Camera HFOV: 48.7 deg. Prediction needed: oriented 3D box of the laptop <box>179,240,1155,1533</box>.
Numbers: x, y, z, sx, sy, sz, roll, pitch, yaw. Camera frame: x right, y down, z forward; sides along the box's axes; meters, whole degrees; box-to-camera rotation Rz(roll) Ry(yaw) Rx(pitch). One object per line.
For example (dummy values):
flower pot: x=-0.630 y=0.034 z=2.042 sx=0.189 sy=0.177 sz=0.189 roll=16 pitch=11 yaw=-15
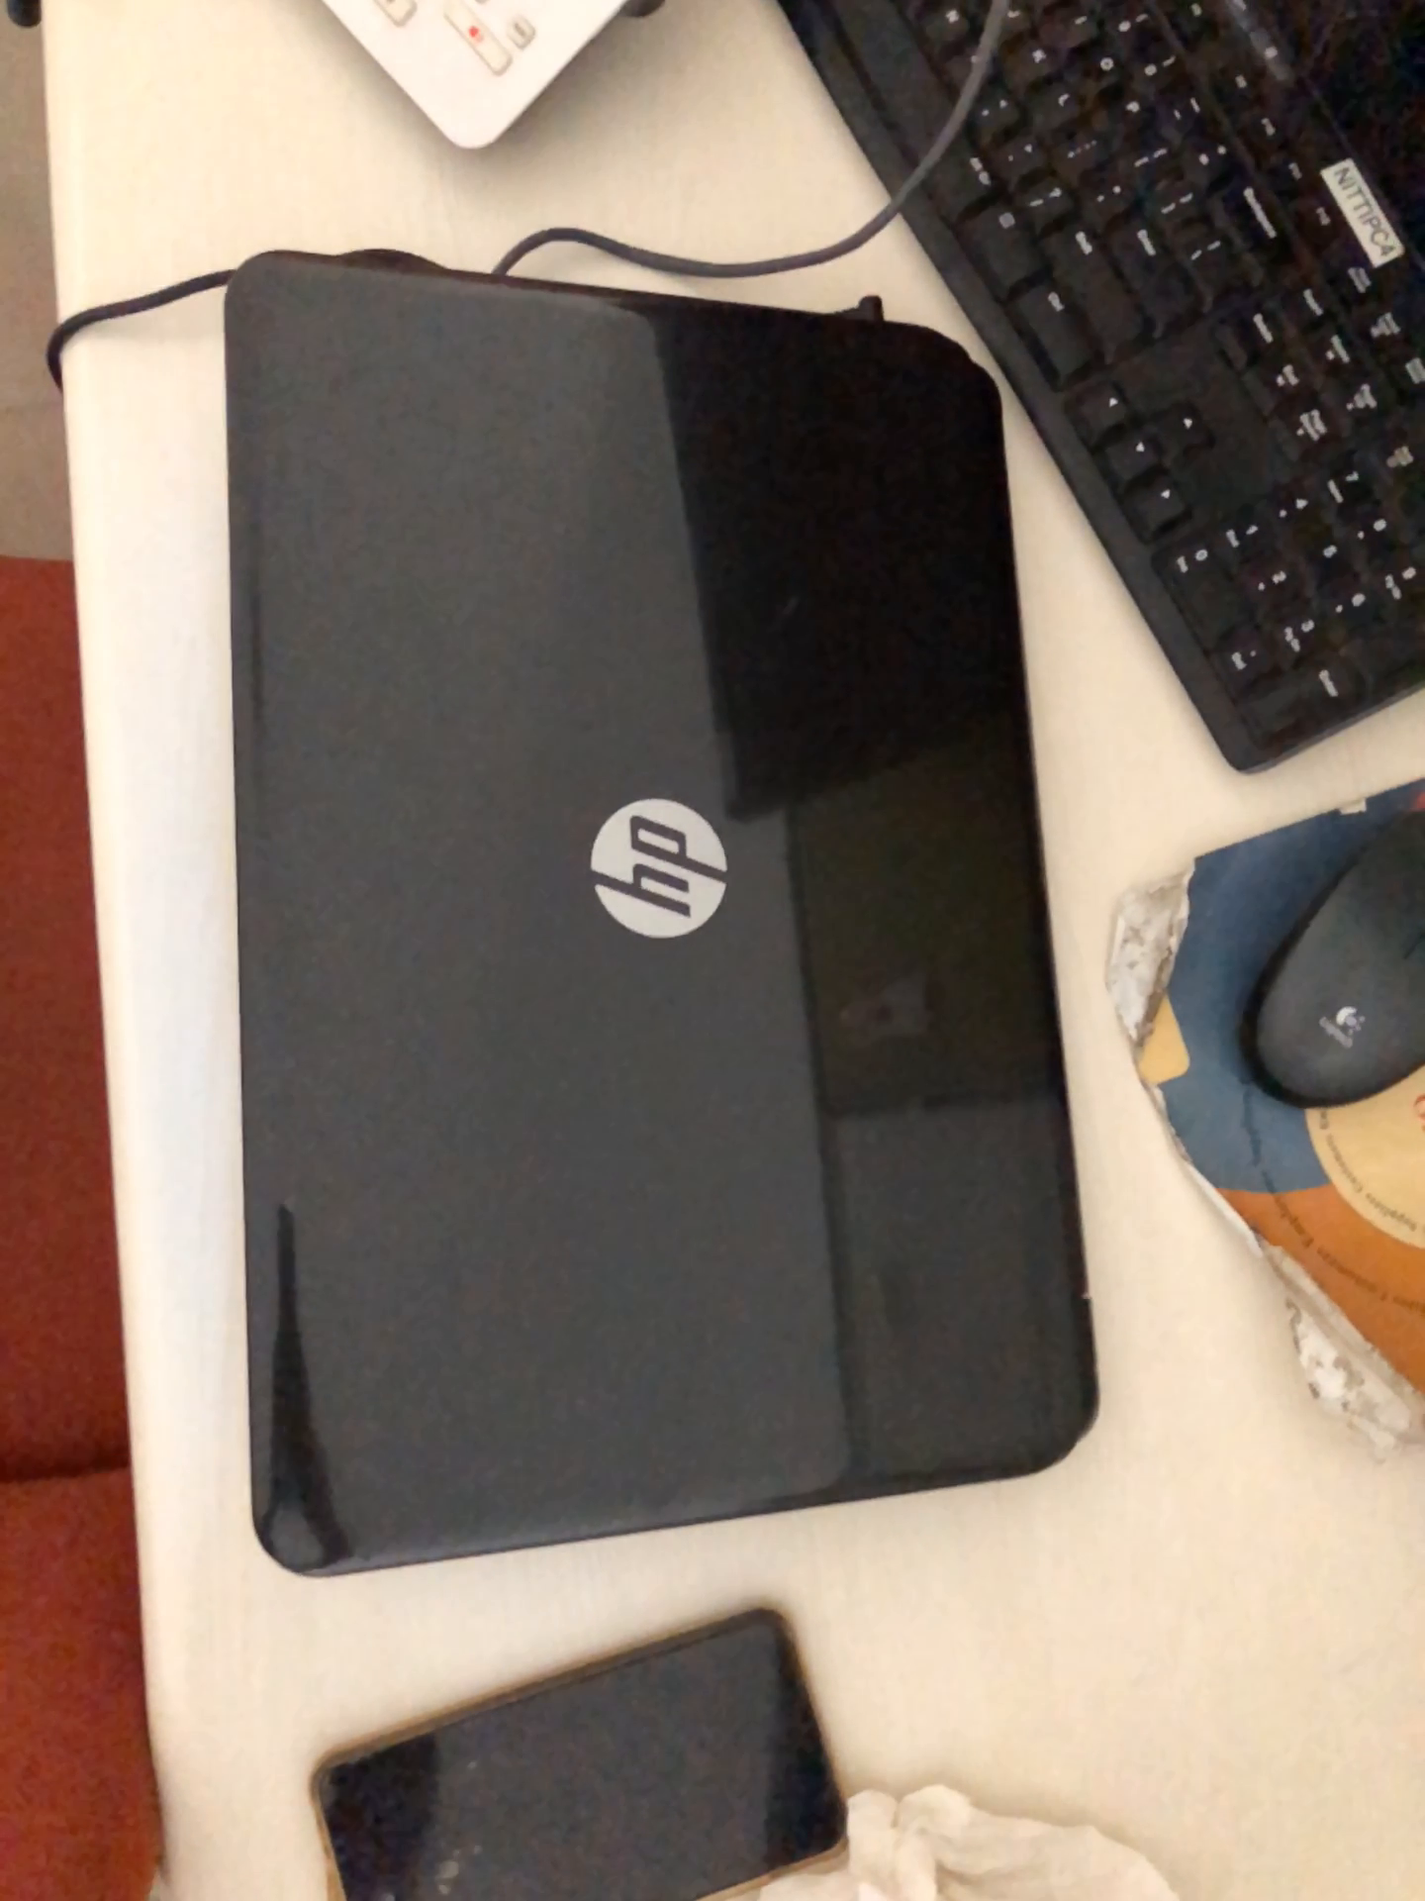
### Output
laptop: x=-0.020 y=-0.024 z=0.464 sx=0.245 sy=0.072 sz=0.350 roll=-3 pitch=81 yaw=-1
